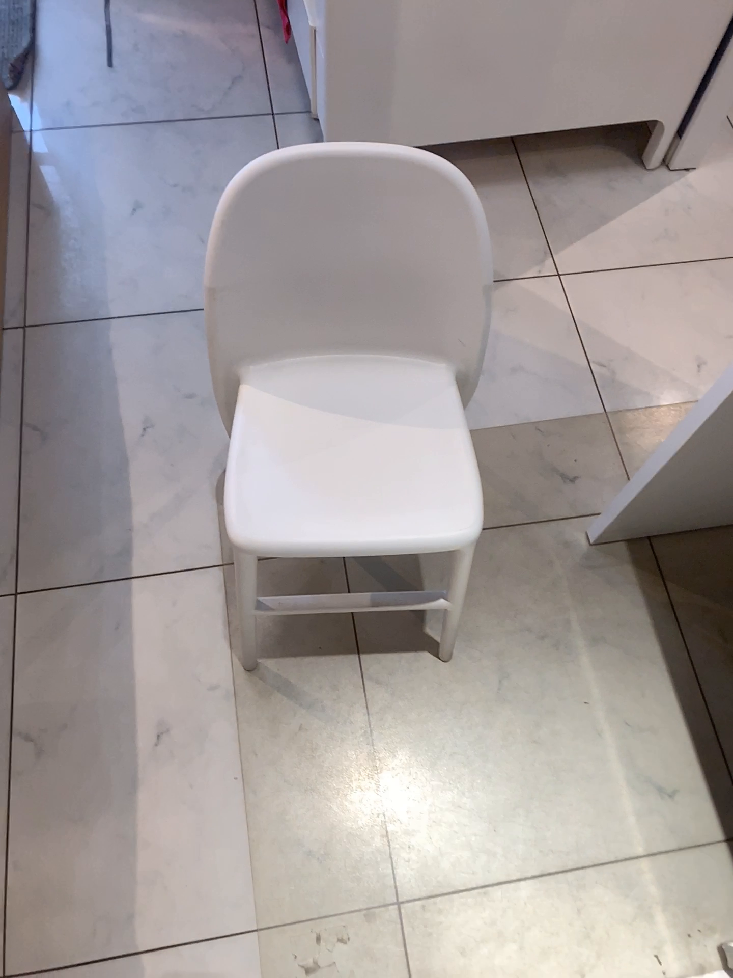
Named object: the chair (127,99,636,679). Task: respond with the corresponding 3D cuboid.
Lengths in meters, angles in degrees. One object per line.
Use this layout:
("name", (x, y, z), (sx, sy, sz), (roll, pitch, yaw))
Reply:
("chair", (-0.011, -0.063, 1.048), (0.430, 0.699, 0.501), (-1, 65, -4))
